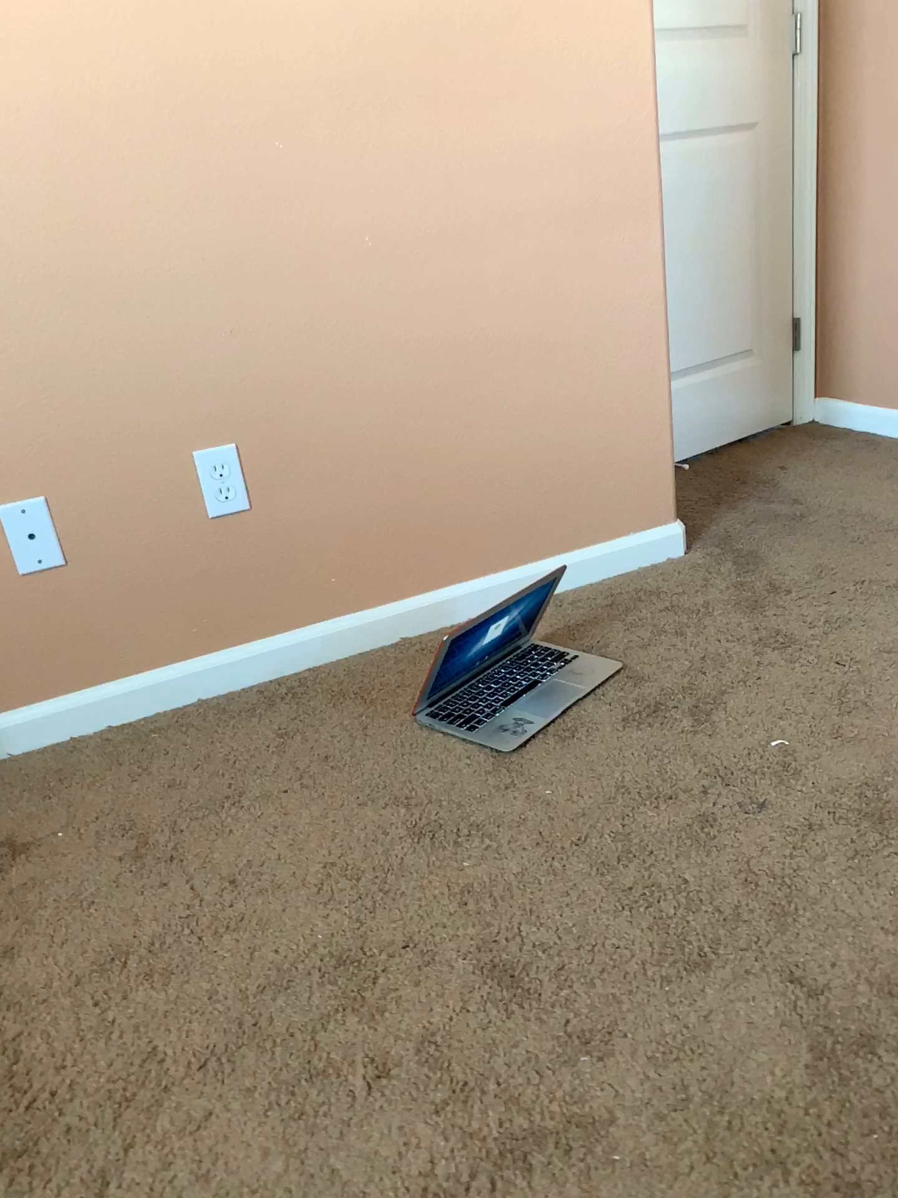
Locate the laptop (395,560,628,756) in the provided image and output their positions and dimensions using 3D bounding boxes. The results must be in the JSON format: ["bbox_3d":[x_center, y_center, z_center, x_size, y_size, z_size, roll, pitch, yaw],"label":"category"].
[{"bbox_3d":[0.102,0.075,1.385,0.193,0.148,0.299,12,30,41],"label":"laptop"}]
